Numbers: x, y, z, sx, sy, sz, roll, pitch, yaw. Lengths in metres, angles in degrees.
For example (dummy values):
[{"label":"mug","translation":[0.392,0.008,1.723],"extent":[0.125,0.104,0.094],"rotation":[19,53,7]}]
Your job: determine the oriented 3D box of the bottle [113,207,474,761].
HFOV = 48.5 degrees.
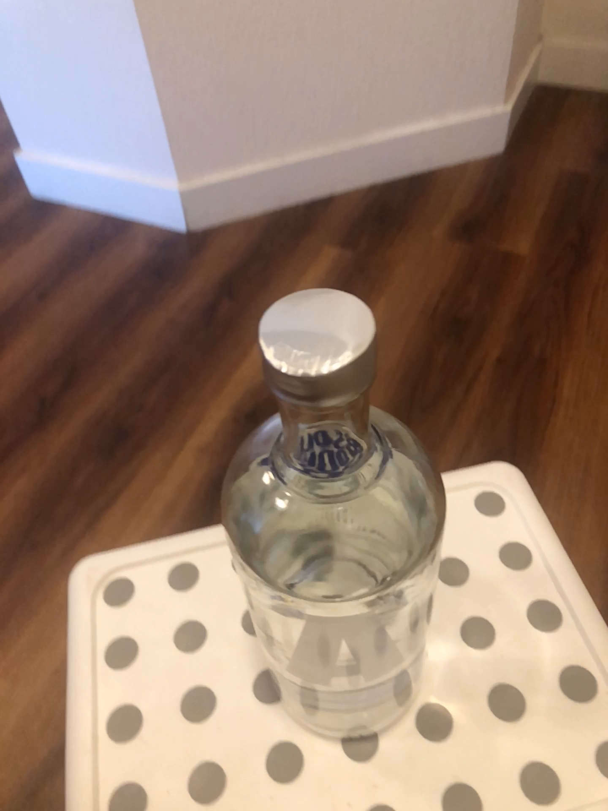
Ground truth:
[{"label":"bottle","translation":[0.013,0.060,0.301],"extent":[0.090,0.269,0.100],"rotation":[5,49,10]}]
